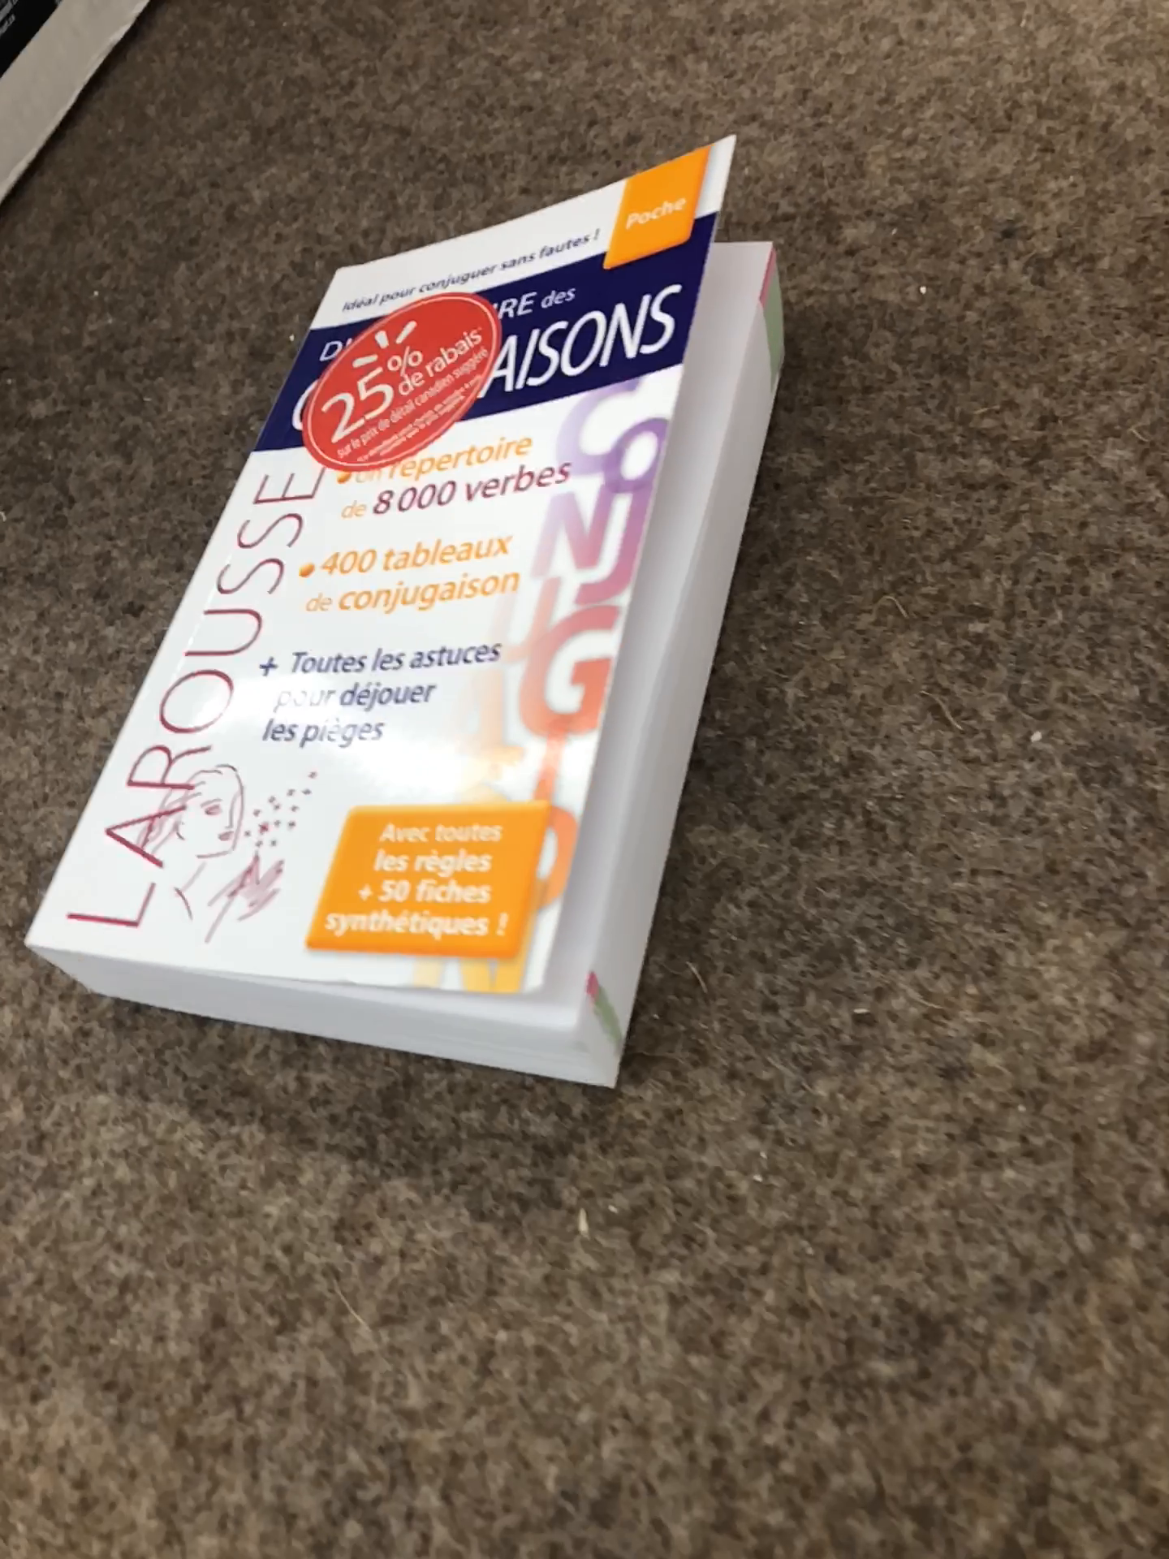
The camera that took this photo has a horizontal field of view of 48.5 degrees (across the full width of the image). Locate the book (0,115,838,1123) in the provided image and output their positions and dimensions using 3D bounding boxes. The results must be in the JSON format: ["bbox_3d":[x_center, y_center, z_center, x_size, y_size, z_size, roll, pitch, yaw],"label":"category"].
[{"bbox_3d":[-0.027,-0.043,0.279,0.124,0.059,0.199,4,62,23],"label":"book"}]
